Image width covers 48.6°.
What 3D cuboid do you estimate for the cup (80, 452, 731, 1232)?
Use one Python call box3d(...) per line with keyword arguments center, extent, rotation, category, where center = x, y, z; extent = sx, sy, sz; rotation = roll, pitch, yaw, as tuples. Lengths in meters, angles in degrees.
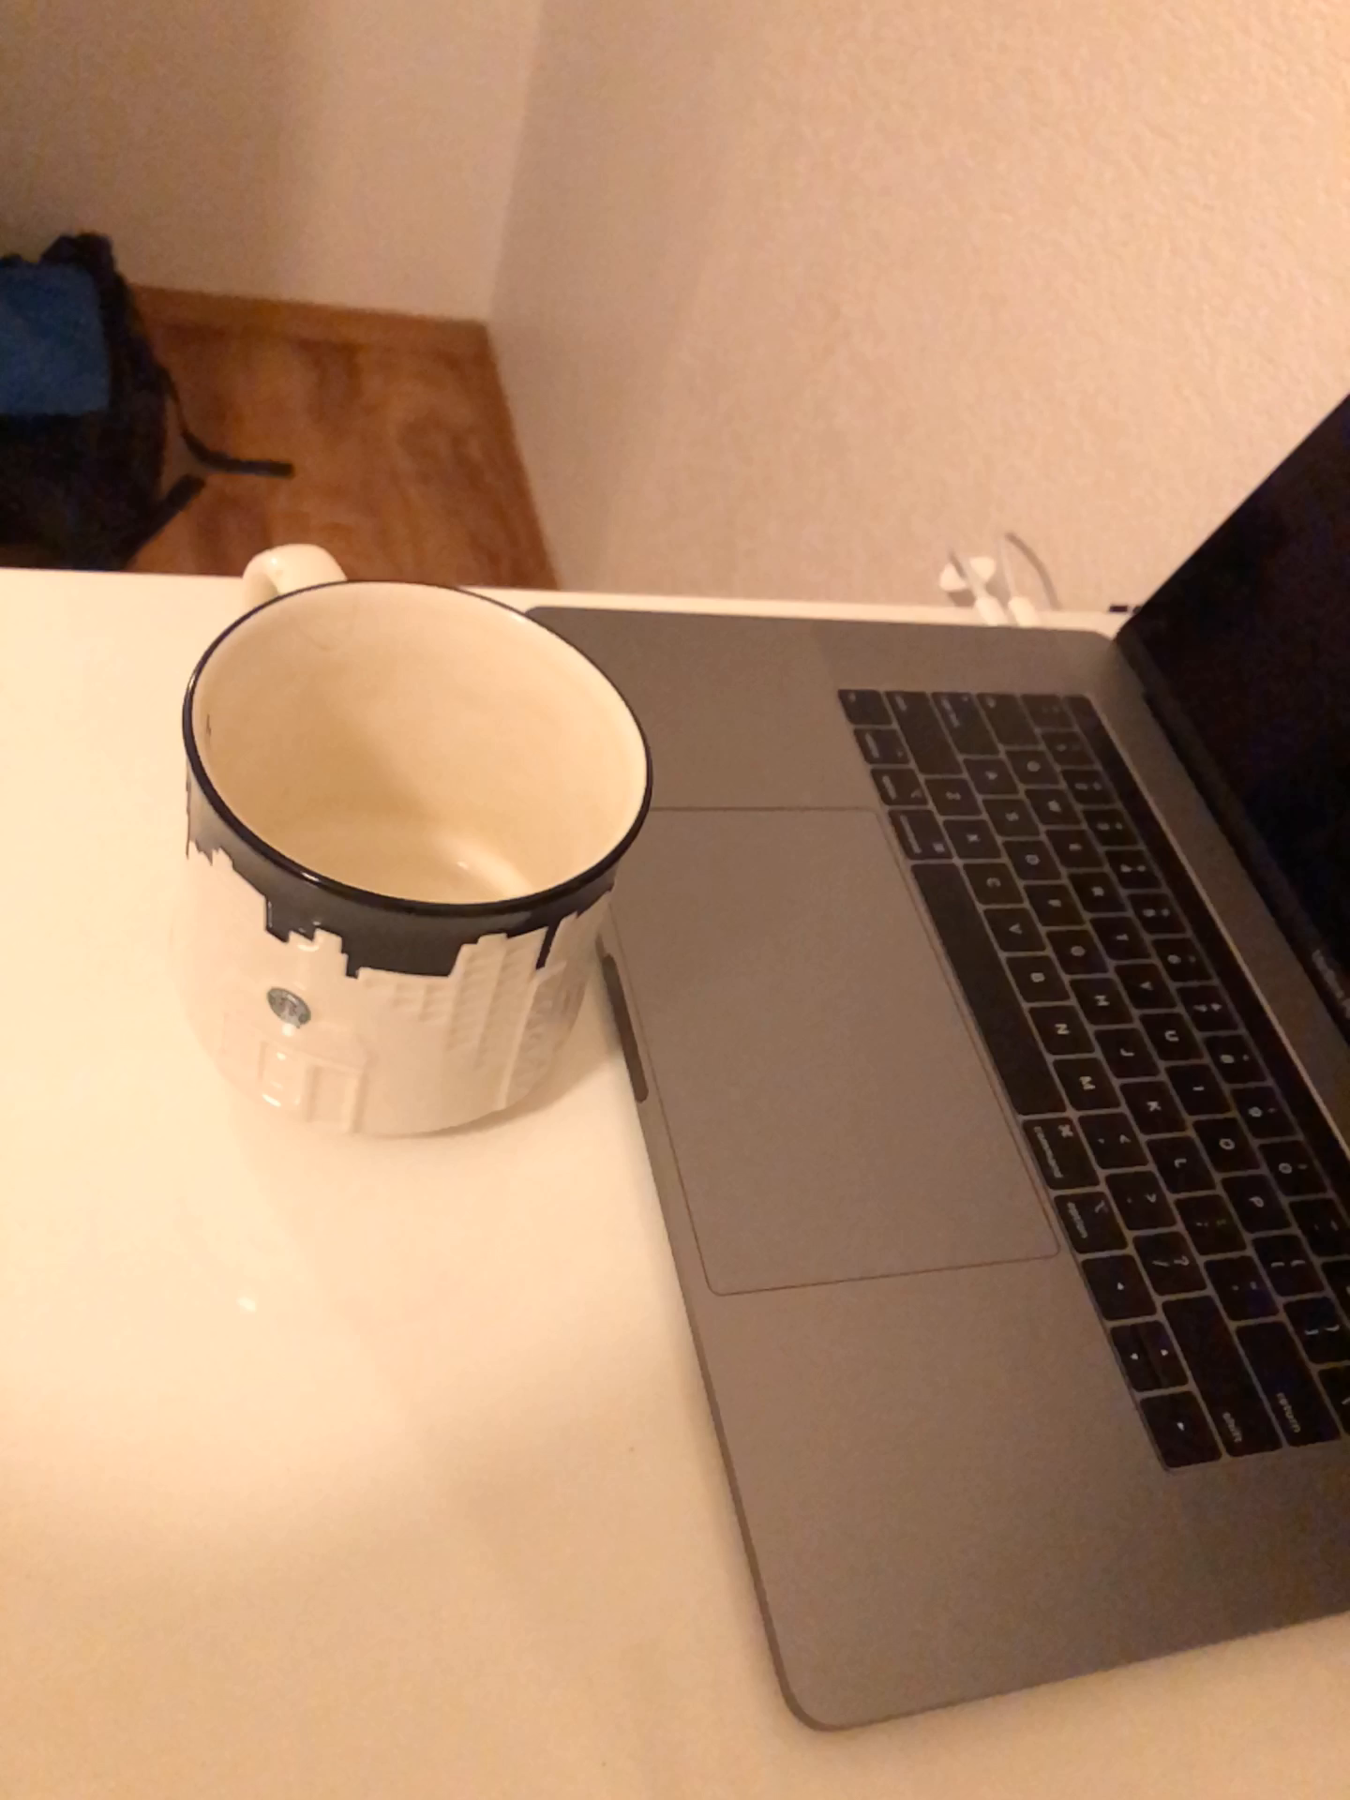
box3d(center=(-0.079, -0.021, 0.386), extent=(0.100, 0.109, 0.150), rotation=(-15, 56, -29), category="cup")
